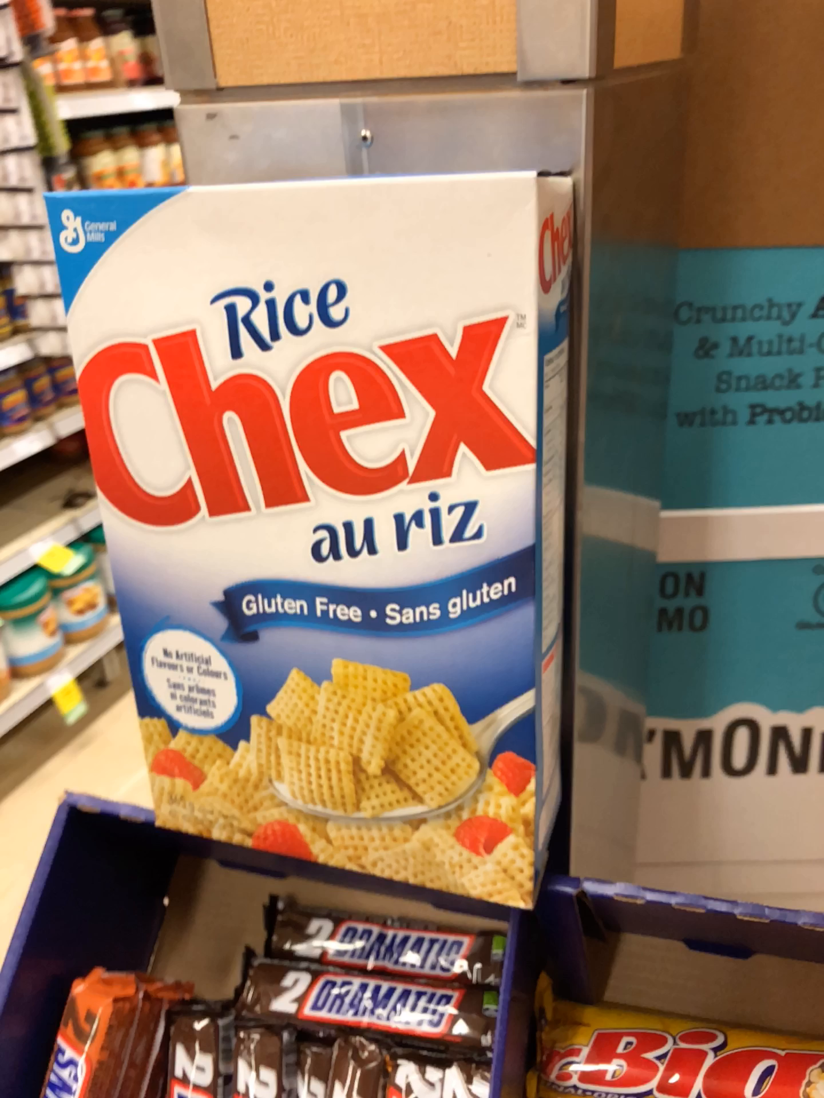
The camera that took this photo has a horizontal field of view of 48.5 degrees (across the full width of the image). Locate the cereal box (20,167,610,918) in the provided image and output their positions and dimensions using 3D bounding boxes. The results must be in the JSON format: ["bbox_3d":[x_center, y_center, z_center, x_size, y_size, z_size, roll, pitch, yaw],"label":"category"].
[{"bbox_3d":[-0.034,-0.005,0.394,0.210,0.288,0.070,6,22,19],"label":"cereal box"}]
